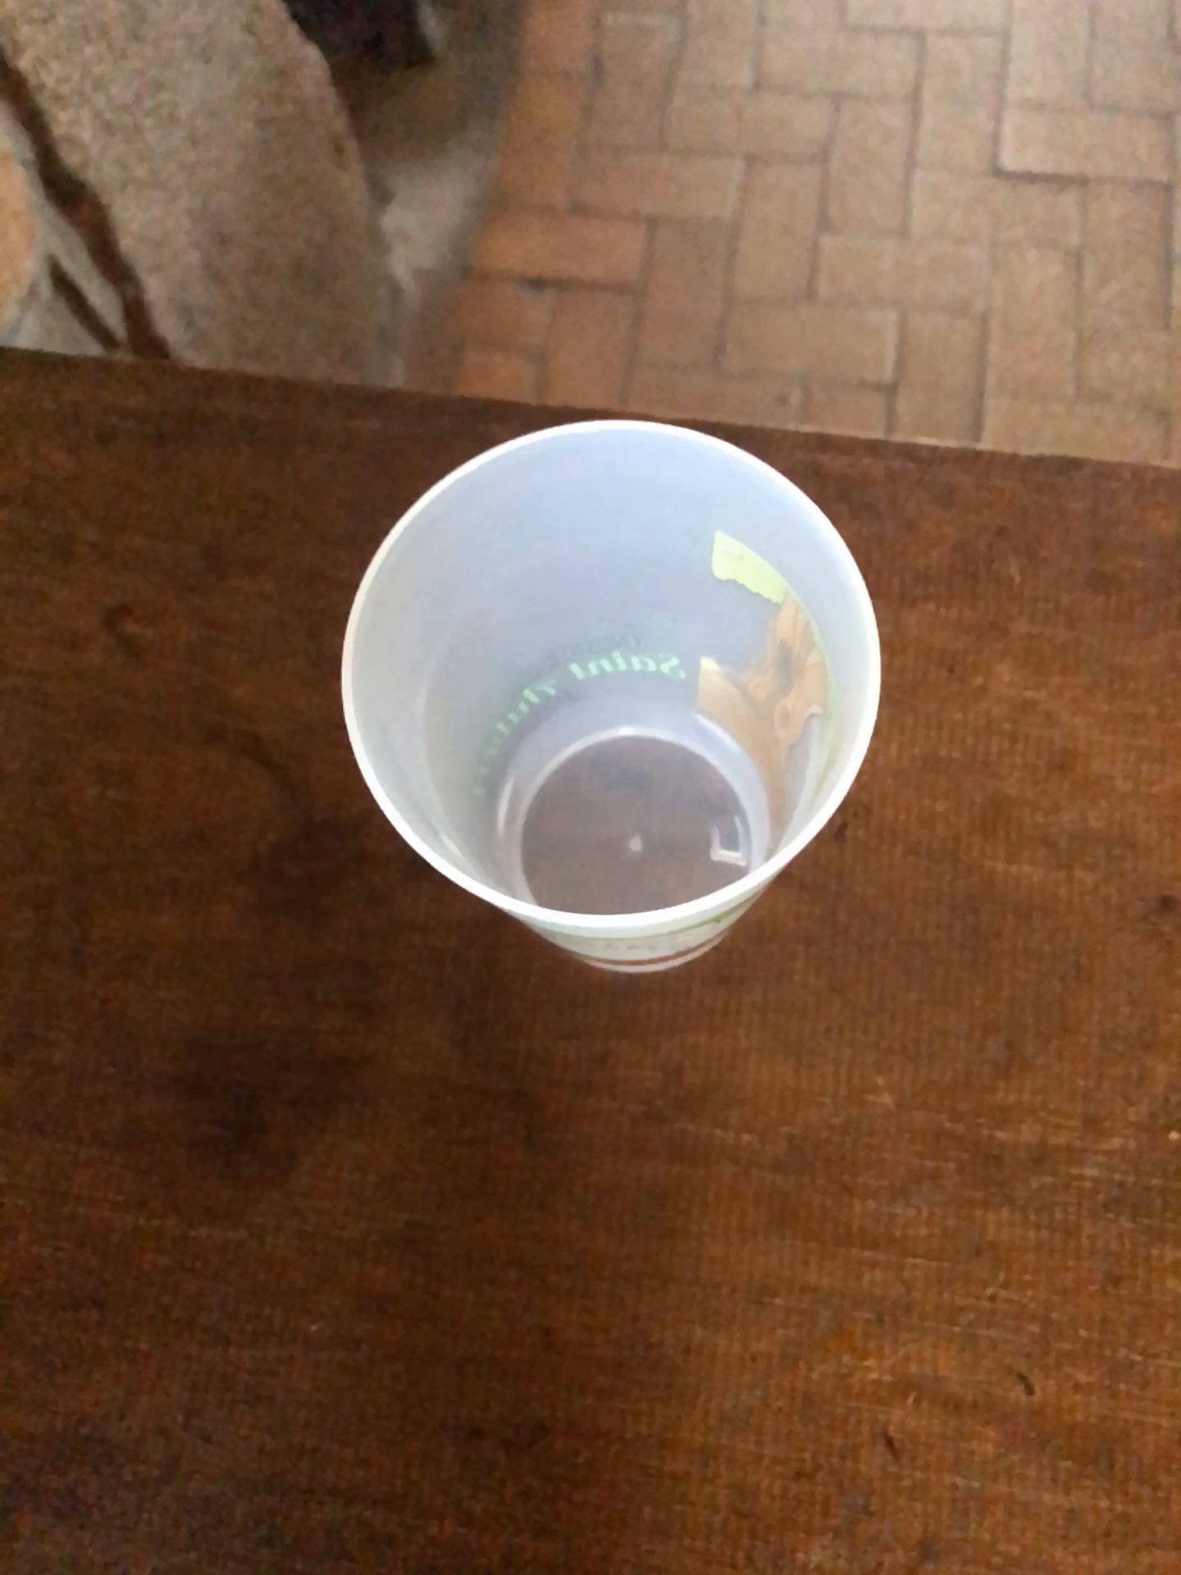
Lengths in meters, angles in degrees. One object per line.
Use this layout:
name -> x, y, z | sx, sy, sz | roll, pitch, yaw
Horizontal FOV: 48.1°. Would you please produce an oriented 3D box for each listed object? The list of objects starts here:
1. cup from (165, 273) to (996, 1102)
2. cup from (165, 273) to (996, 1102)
cup -> 0.001, -0.005, 0.235 | 0.080, 0.120, 0.080 | -1, 74, 4
cup -> 0.001, -0.005, 0.235 | 0.080, 0.120, 0.080 | -1, 74, 4
